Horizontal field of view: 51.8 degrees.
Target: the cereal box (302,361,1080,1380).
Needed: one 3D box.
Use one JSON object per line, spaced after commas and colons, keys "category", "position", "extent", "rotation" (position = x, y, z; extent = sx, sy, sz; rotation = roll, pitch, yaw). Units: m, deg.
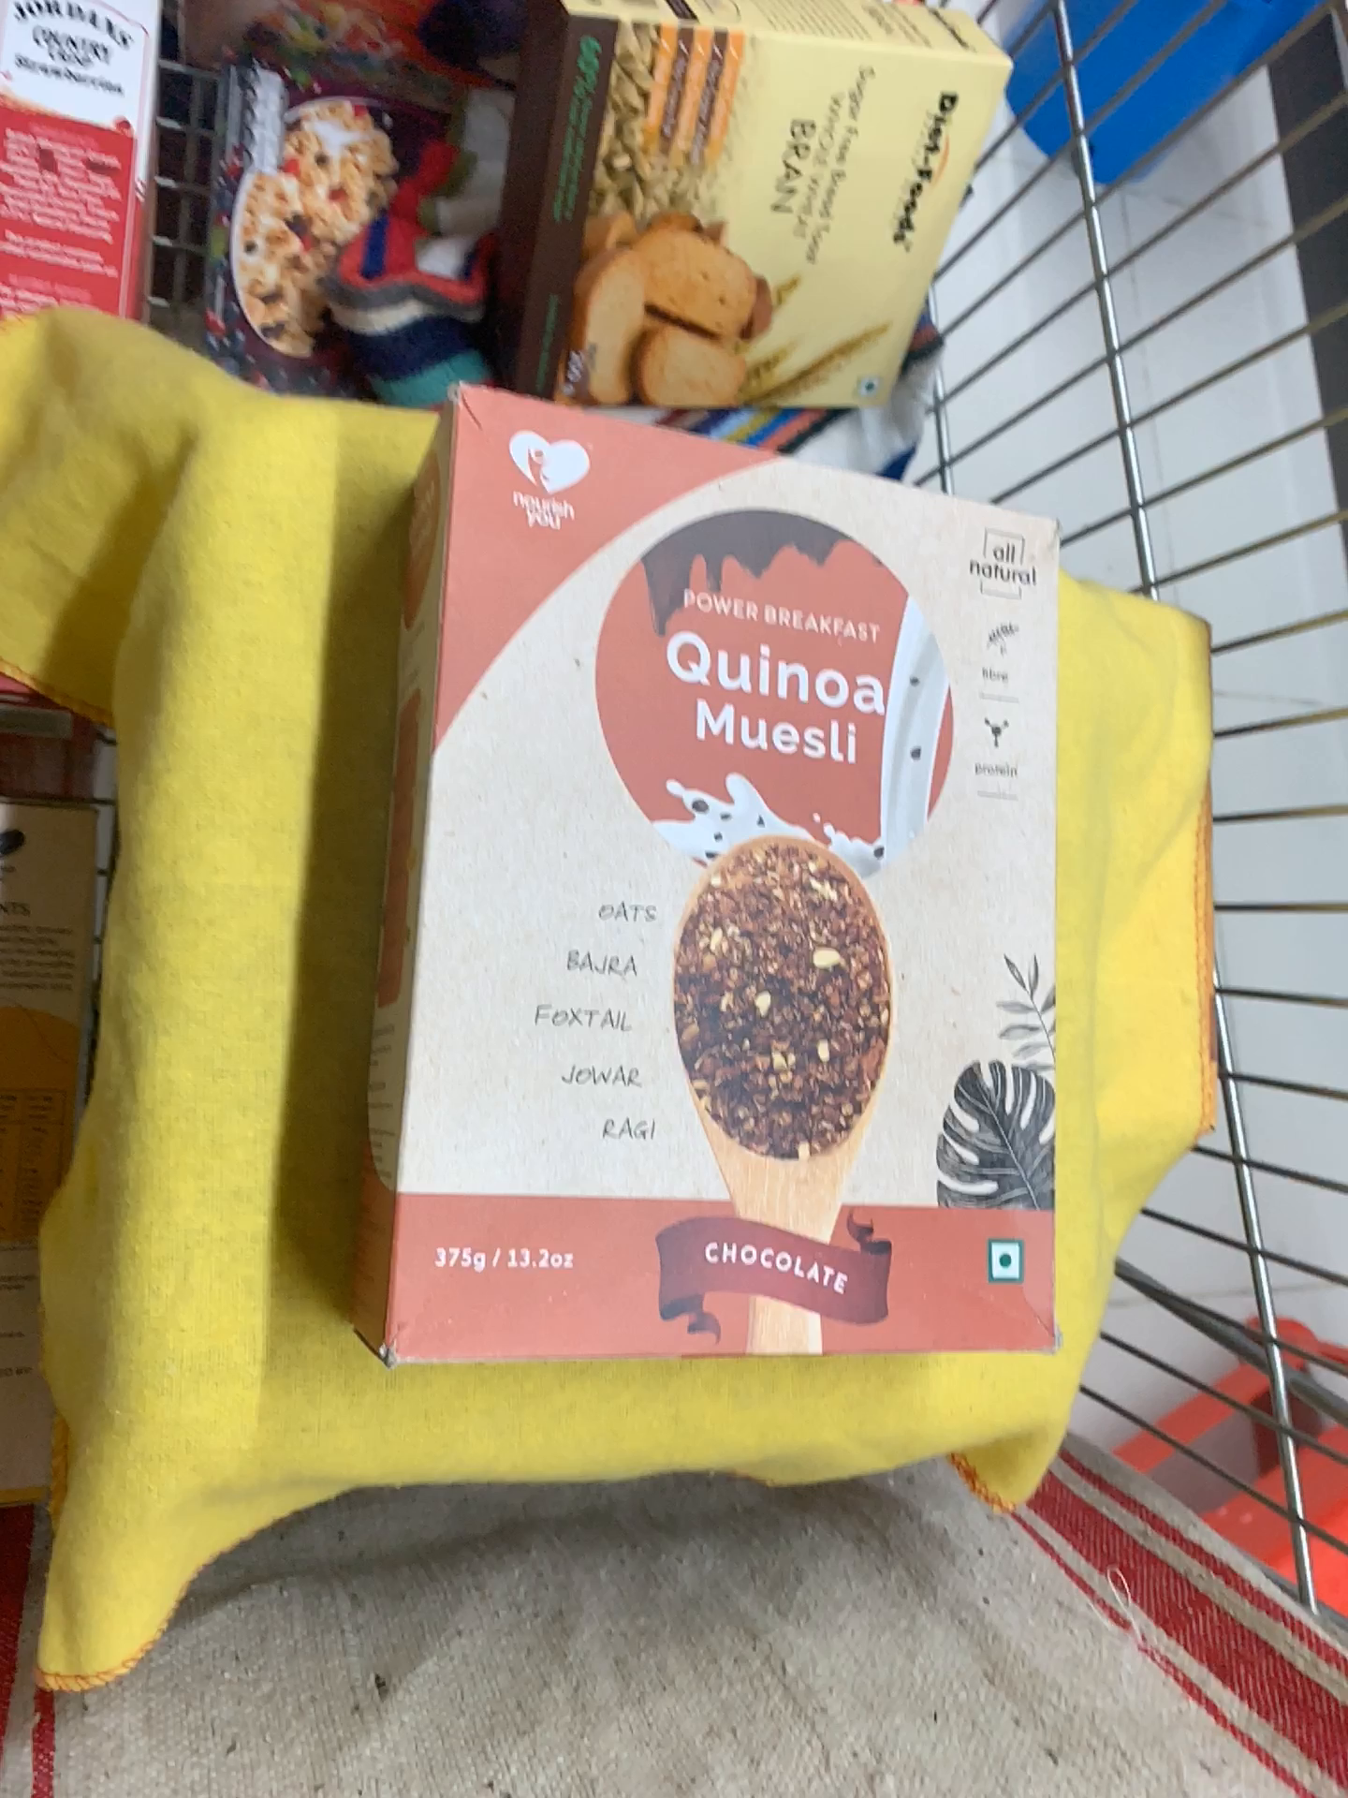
{"category": "cereal box", "position": [0.008, 0.000, 0.338], "extent": [0.170, 0.060, 0.210], "rotation": [6, 80, -19]}
